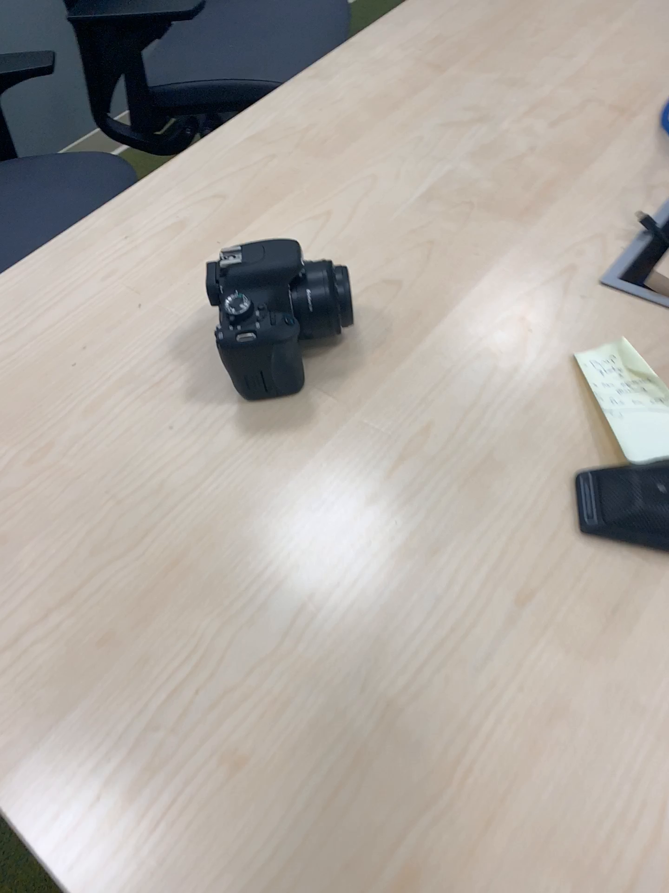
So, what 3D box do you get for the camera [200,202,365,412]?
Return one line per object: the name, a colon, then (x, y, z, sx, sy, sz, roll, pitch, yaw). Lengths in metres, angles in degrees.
camera: (-0.045, -0.124, 0.605, 0.123, 0.100, 0.141, -7, 52, 1)
